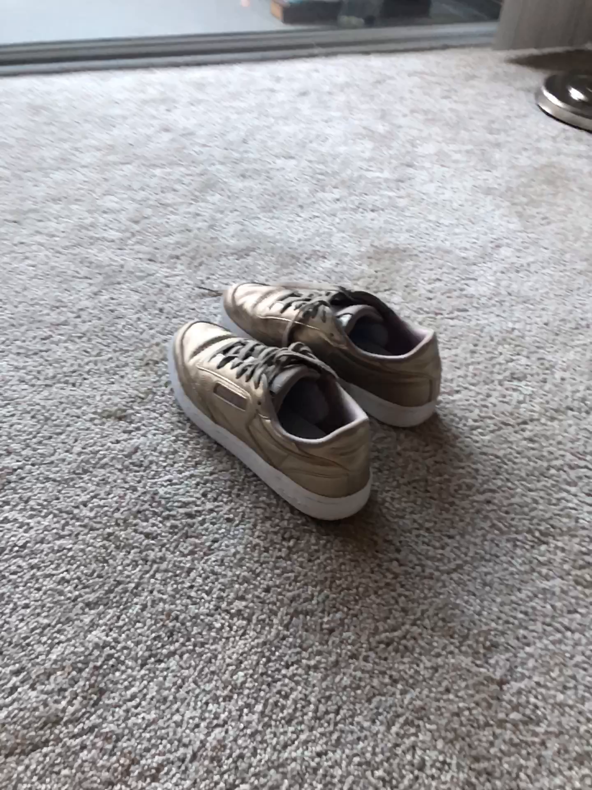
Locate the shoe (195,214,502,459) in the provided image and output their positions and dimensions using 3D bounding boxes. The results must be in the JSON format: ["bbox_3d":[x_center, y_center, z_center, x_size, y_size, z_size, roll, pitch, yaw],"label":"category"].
[{"bbox_3d":[0.038,-0.069,0.625,0.280,0.070,0.110,36,51,27],"label":"shoe"}]

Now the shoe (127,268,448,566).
[{"bbox_3d":[-0.020,0.002,0.565,0.110,0.070,0.281,-29,54,-31],"label":"shoe"}]
